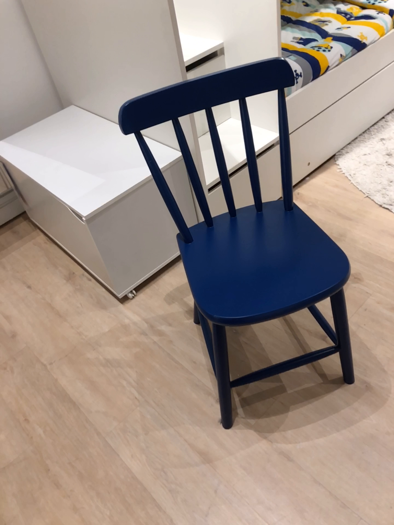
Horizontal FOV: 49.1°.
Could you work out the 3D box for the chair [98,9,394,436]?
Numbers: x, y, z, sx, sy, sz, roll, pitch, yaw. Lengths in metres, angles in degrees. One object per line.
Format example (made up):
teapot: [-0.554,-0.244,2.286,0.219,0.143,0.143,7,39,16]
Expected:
chair: [0.136,-0.054,1.041,0.460,0.805,0.483,-17,43,-4]
